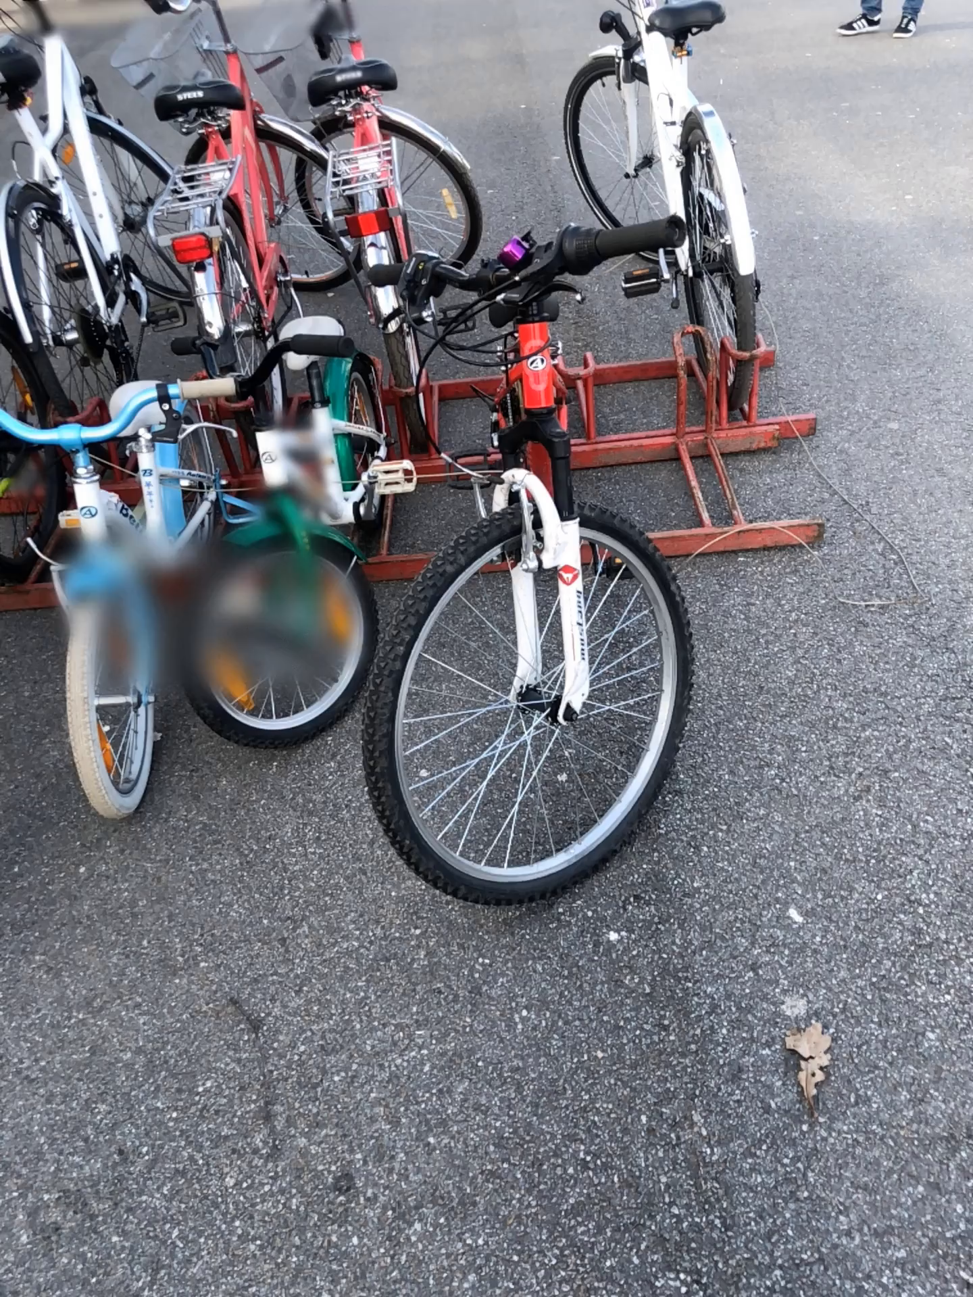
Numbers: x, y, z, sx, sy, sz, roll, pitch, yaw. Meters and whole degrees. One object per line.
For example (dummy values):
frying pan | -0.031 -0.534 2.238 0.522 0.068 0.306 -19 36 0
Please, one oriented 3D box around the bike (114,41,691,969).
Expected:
bike | 0.037 -0.367 1.822 0.551 0.908 1.452 3 40 8
